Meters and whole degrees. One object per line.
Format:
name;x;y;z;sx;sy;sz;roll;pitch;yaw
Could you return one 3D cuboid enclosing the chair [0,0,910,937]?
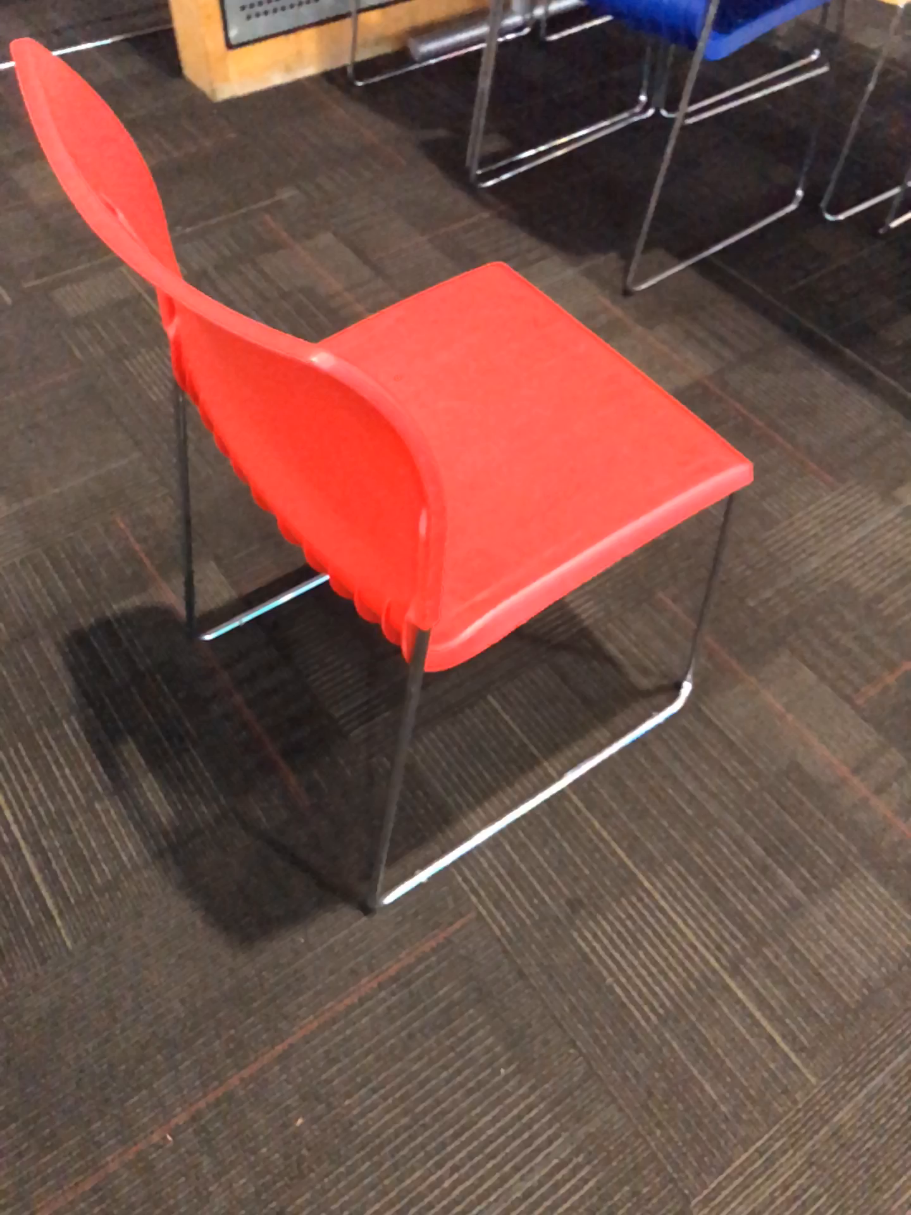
chair;-0.028;-0.188;1.073;0.610;0.767;0.562;-28;57;-21
